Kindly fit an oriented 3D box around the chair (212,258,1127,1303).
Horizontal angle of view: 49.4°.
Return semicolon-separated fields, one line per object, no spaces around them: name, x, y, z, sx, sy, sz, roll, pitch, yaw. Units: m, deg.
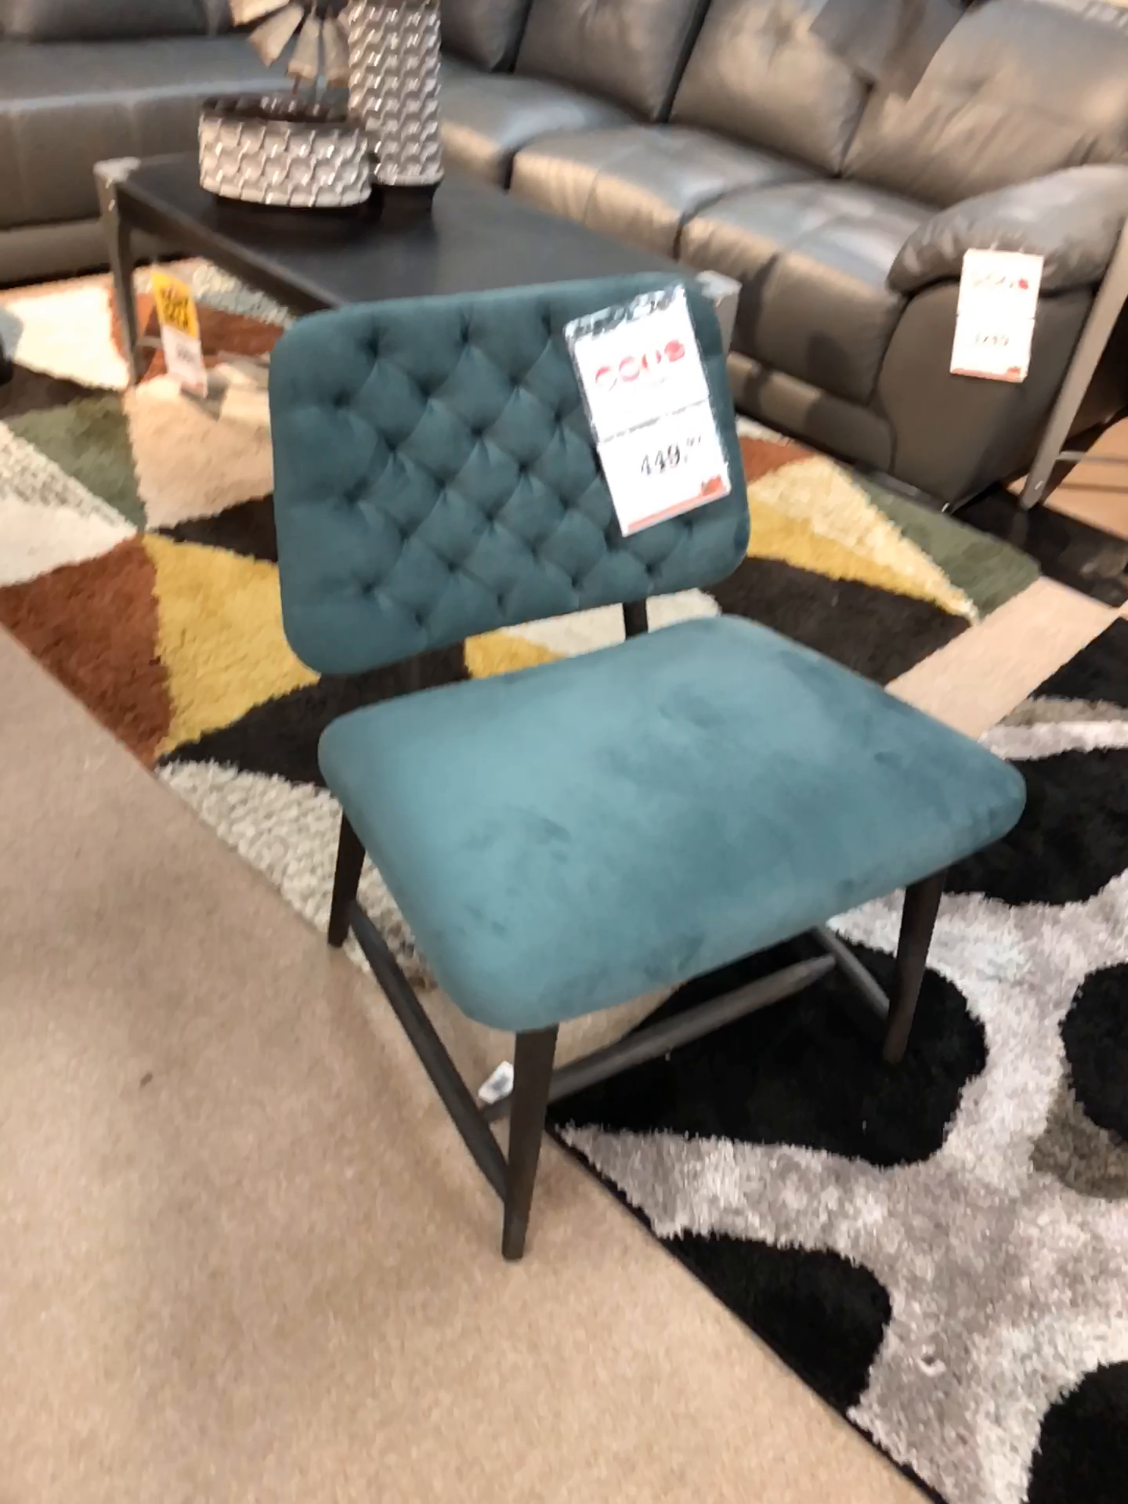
chair;0.066;-0.004;1.256;0.640;0.765;0.533;-17;45;-28
